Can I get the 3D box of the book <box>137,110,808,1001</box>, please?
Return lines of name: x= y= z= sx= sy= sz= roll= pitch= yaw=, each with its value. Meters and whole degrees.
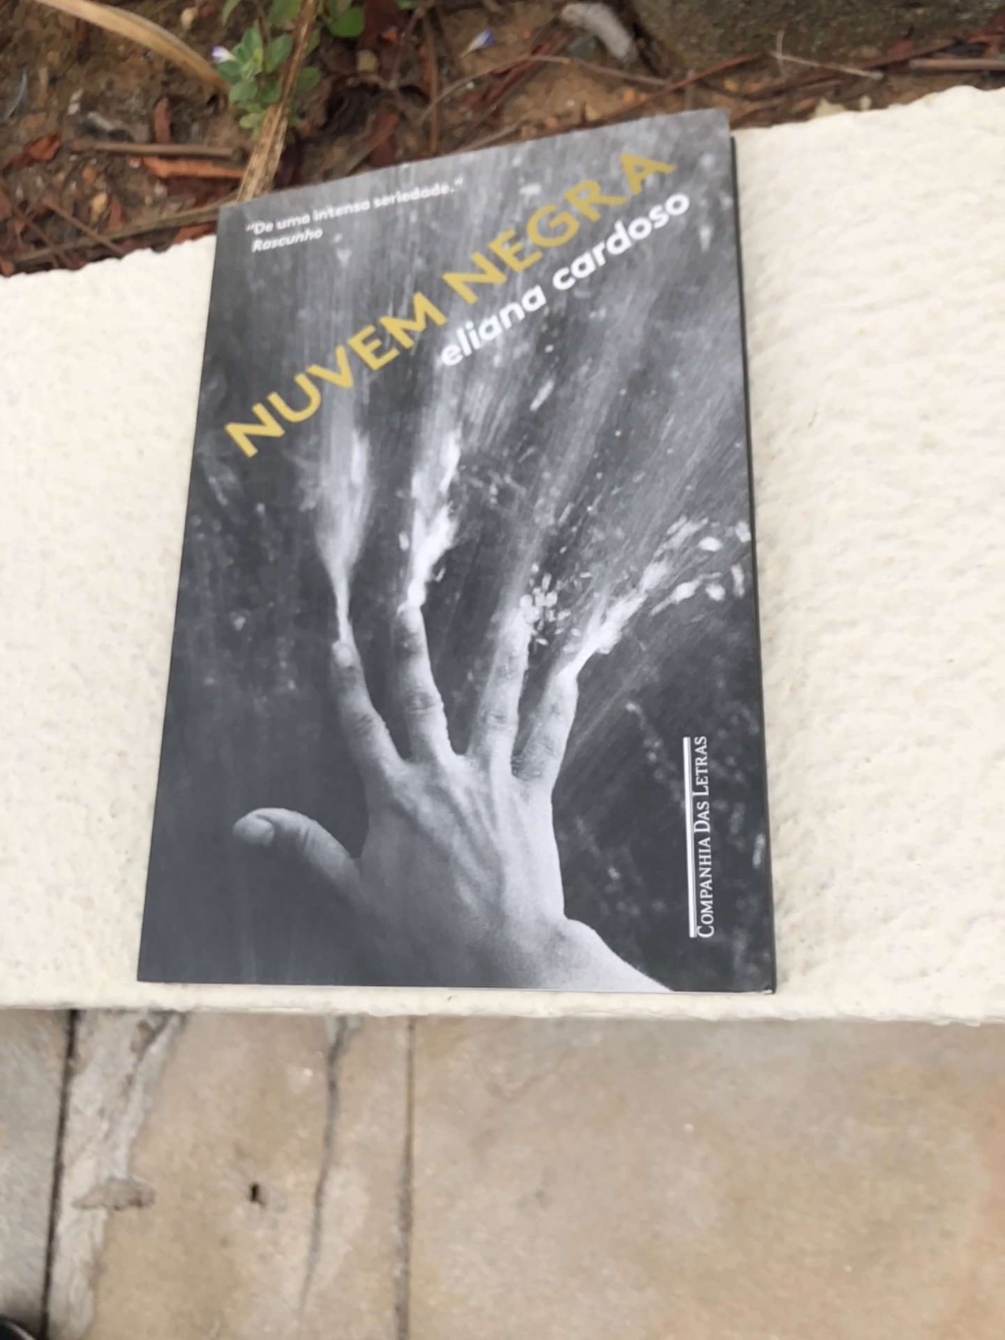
book: x=-0.007 y=-0.030 z=0.260 sx=0.140 sy=0.013 sz=0.200 roll=-3 pitch=74 yaw=14
